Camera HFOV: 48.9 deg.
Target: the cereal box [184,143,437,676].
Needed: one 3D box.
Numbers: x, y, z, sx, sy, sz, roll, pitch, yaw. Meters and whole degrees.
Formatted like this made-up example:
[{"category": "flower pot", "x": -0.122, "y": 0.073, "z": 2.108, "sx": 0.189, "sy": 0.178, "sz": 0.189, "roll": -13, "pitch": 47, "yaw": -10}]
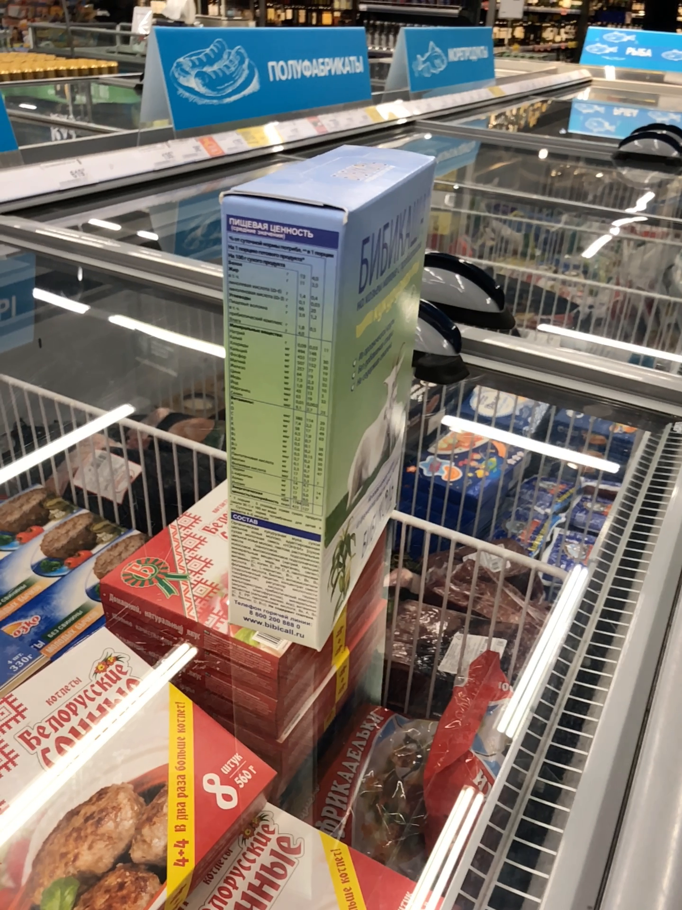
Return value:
[{"category": "cereal box", "x": -0.009, "y": -0.026, "z": 0.346, "sx": 0.050, "sy": 0.199, "sz": 0.141, "roll": 13, "pitch": 32, "yaw": 16}]
